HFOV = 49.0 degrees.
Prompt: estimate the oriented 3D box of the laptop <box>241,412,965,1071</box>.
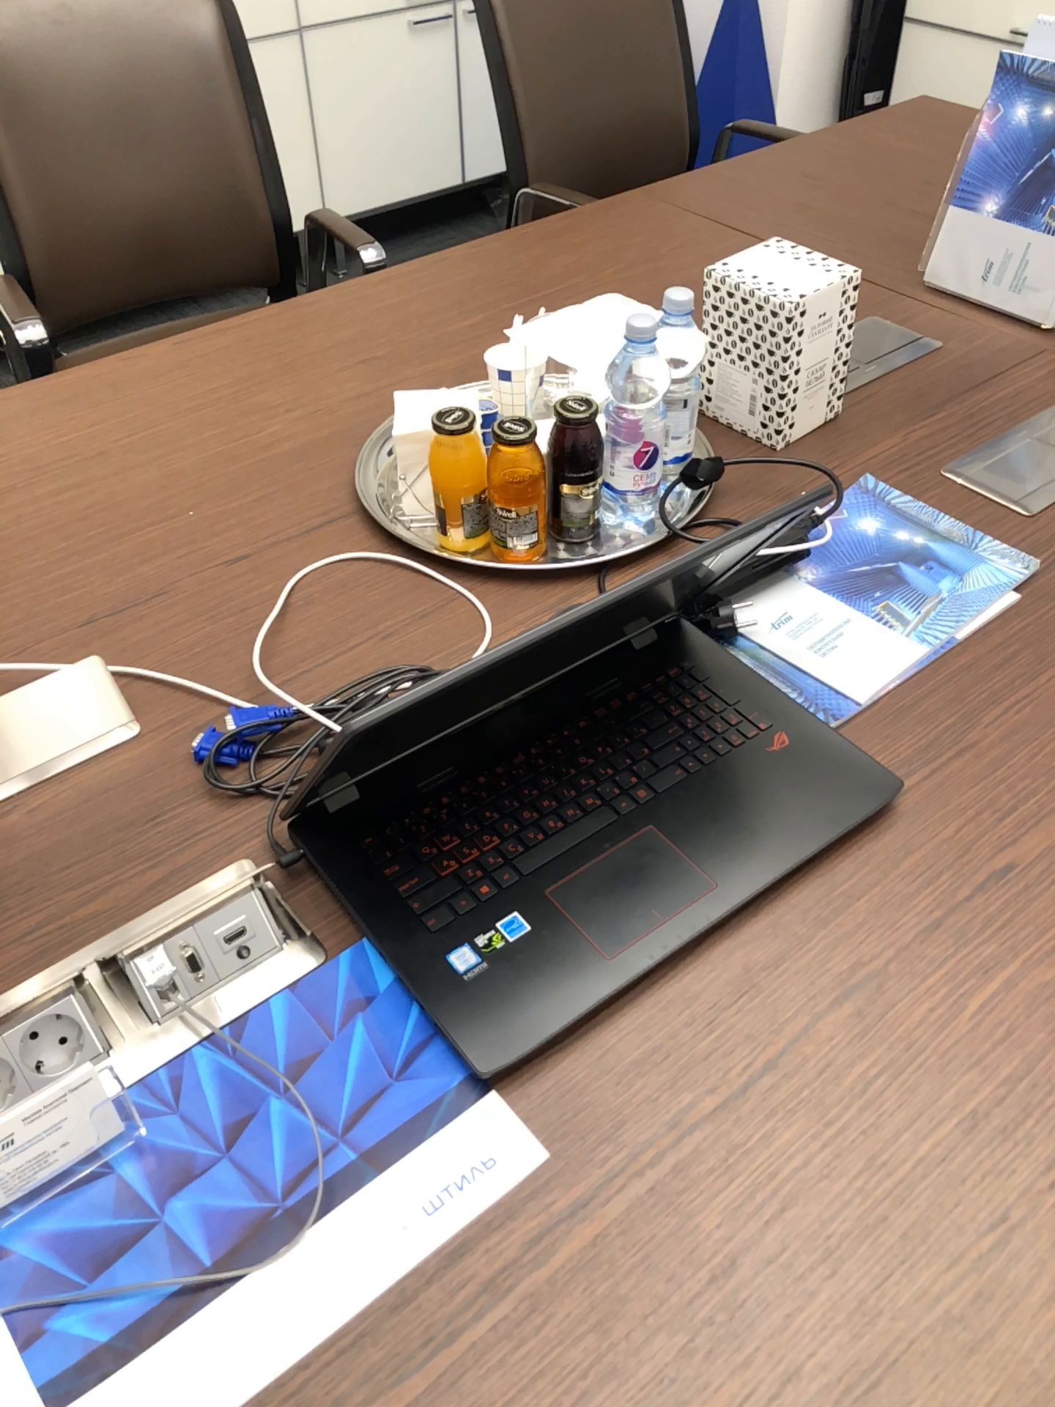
[{"bbox_3d":[0.053,0.001,0.769,0.378,0.189,0.237,-28,50,-26],"label":"laptop"}]
